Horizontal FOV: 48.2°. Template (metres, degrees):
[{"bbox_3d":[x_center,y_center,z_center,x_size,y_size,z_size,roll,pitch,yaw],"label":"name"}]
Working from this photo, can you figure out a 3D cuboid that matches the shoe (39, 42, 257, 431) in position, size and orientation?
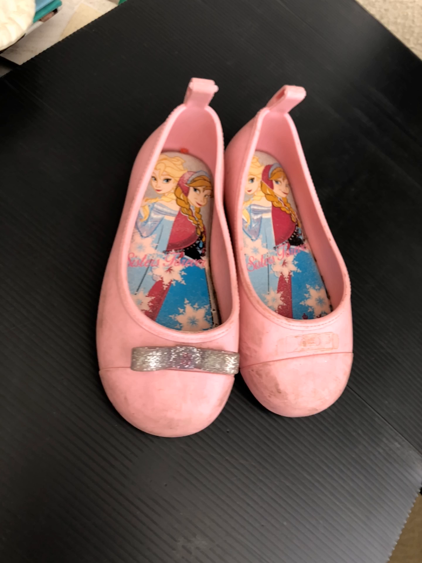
[{"bbox_3d":[-0.030,-0.013,0.224,0.078,0.070,0.160,7,71,-19],"label":"shoe"}]

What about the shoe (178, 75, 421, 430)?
[{"bbox_3d":[0.036,-0.011,0.246,0.078,0.070,0.160,0,73,-21],"label":"shoe"}]
